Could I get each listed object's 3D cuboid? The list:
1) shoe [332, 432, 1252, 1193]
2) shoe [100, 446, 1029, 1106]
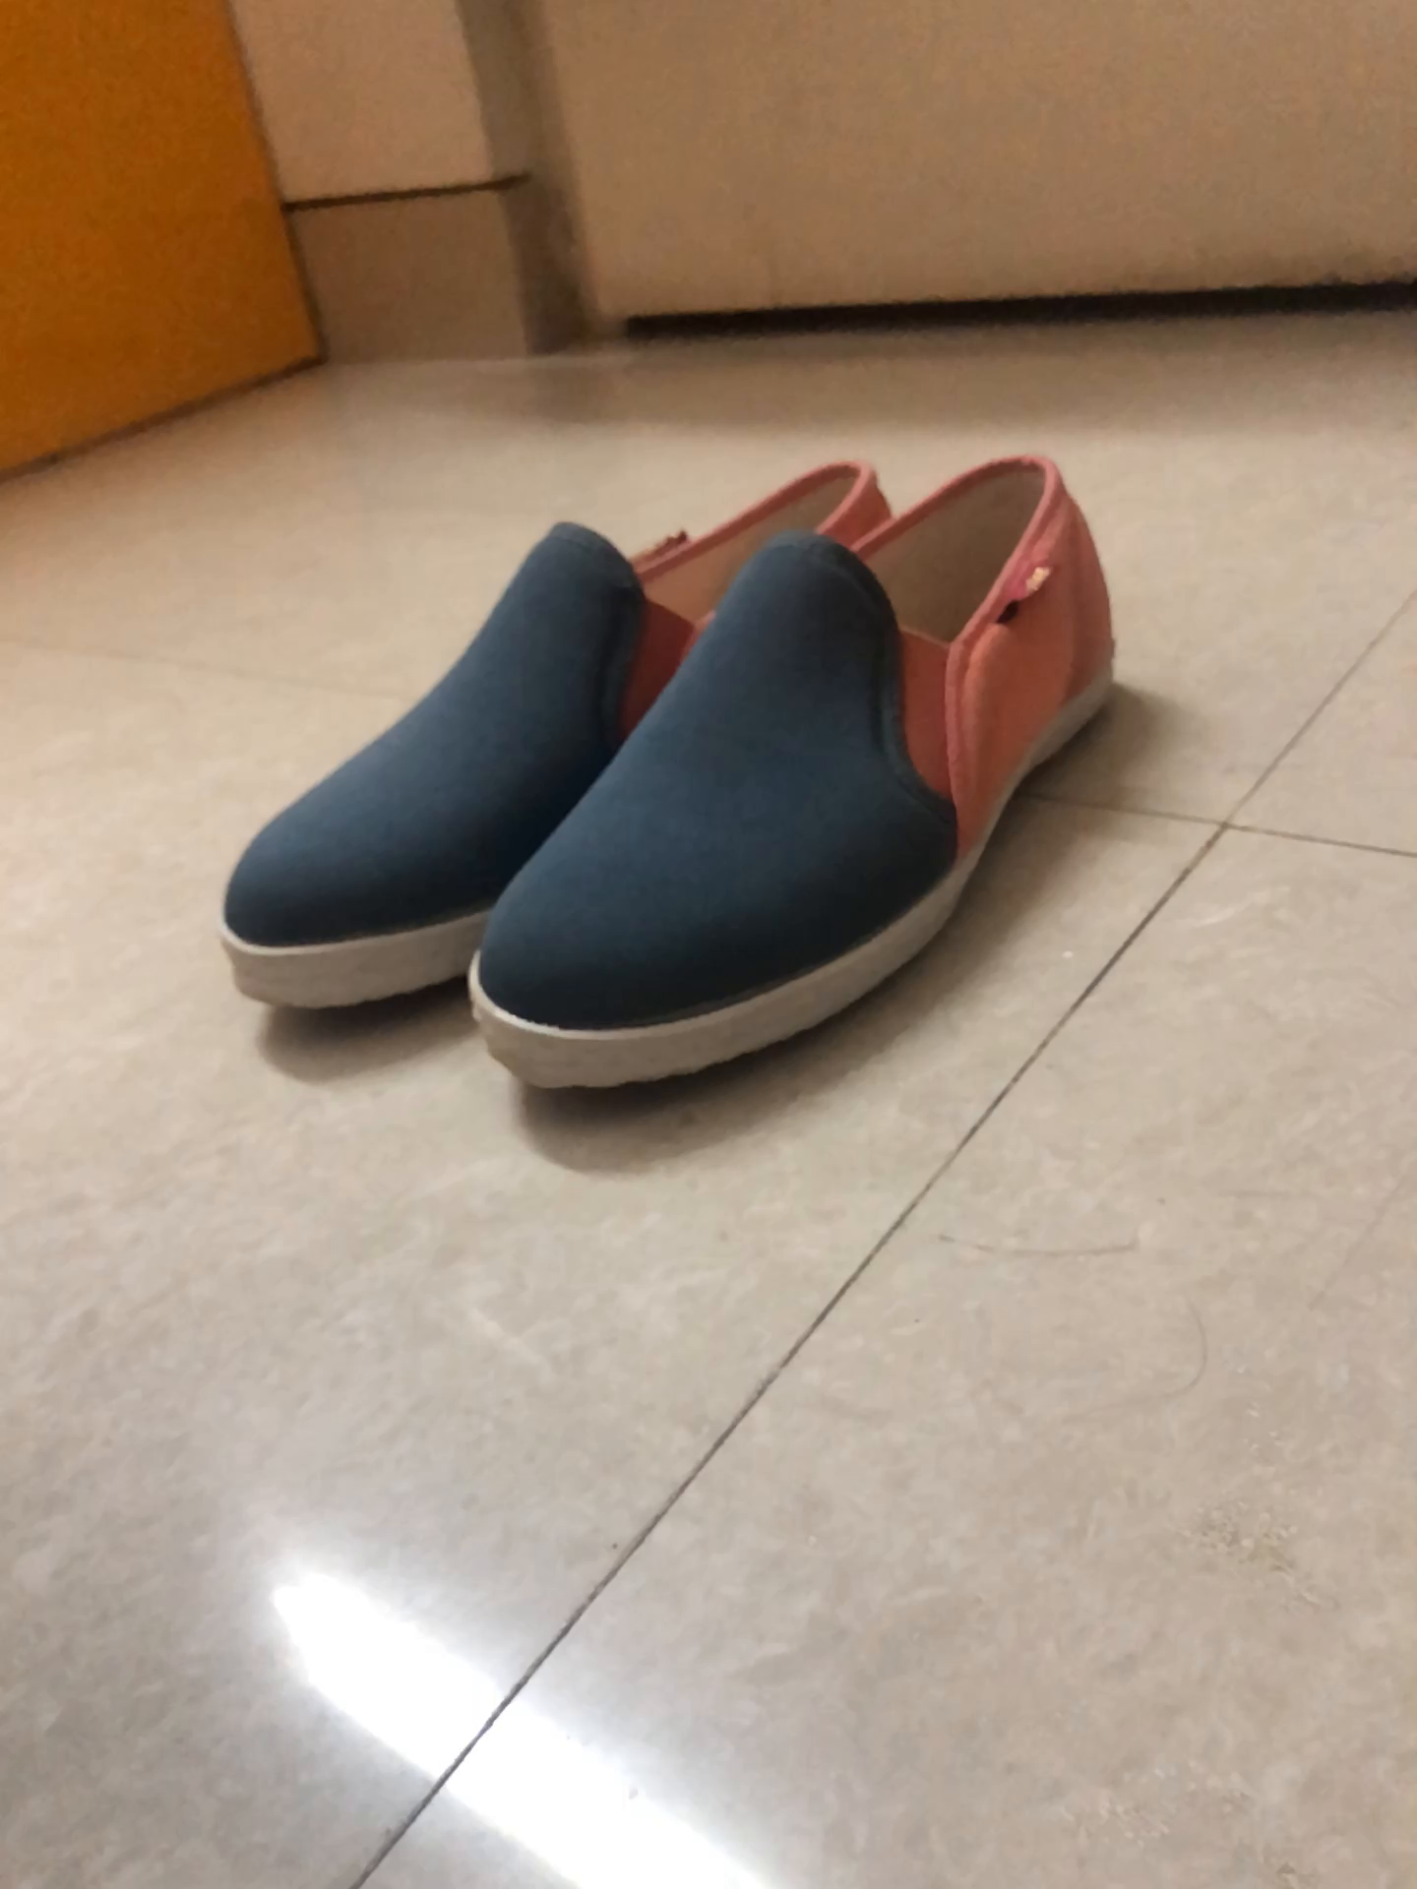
[{"bbox_3d":[0.036,-0.048,0.347,0.090,0.060,0.221,12,38,34],"label":"shoe"},{"bbox_3d":[-0.021,-0.058,0.392,0.090,0.060,0.221,17,41,39],"label":"shoe"}]
